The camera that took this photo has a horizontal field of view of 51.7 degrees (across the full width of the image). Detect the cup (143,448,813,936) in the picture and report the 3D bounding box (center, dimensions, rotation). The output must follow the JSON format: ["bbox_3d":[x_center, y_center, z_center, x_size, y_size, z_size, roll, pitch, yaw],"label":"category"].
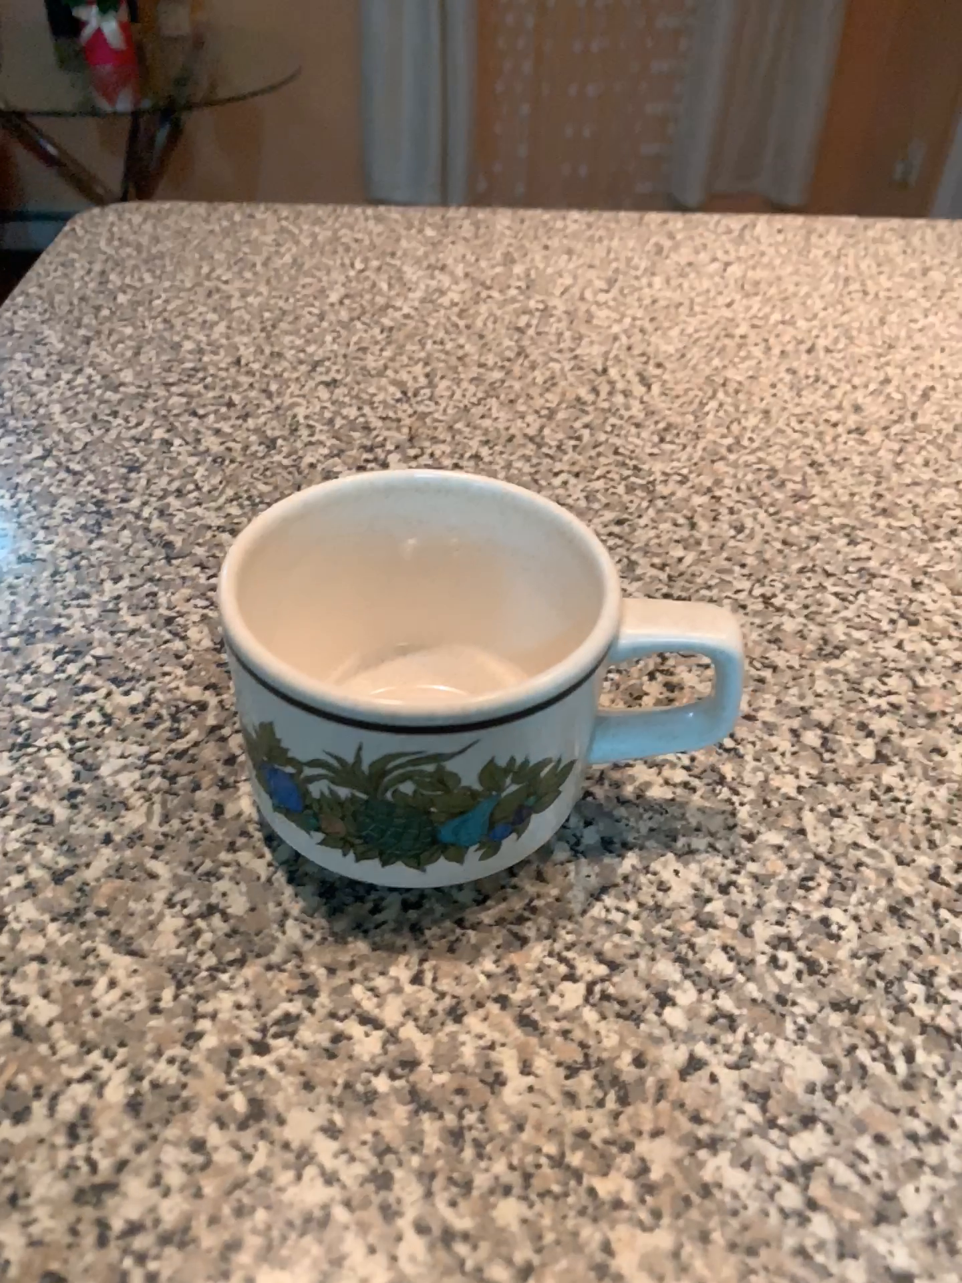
[{"bbox_3d":[0.001,0.007,0.223,0.117,0.054,0.088,5,41,1],"label":"cup"}]
